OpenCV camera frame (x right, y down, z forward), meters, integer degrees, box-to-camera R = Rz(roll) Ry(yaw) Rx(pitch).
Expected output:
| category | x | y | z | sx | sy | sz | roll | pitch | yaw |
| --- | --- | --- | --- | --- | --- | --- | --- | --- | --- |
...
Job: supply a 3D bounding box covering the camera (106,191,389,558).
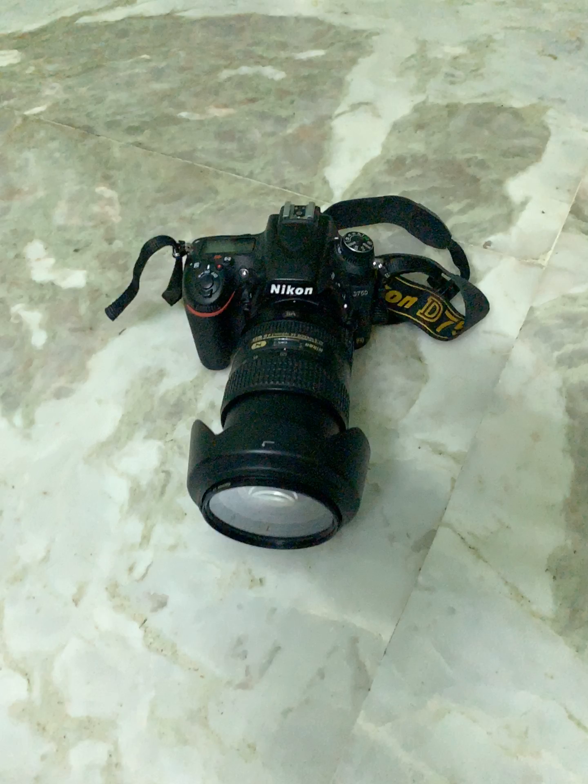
| category | x | y | z | sx | sy | sz | roll | pitch | yaw |
| --- | --- | --- | --- | --- | --- | --- | --- | --- | --- |
| camera | -0.014 | -0.018 | 0.371 | 0.130 | 0.090 | 0.211 | 1 | 55 | 5 |
